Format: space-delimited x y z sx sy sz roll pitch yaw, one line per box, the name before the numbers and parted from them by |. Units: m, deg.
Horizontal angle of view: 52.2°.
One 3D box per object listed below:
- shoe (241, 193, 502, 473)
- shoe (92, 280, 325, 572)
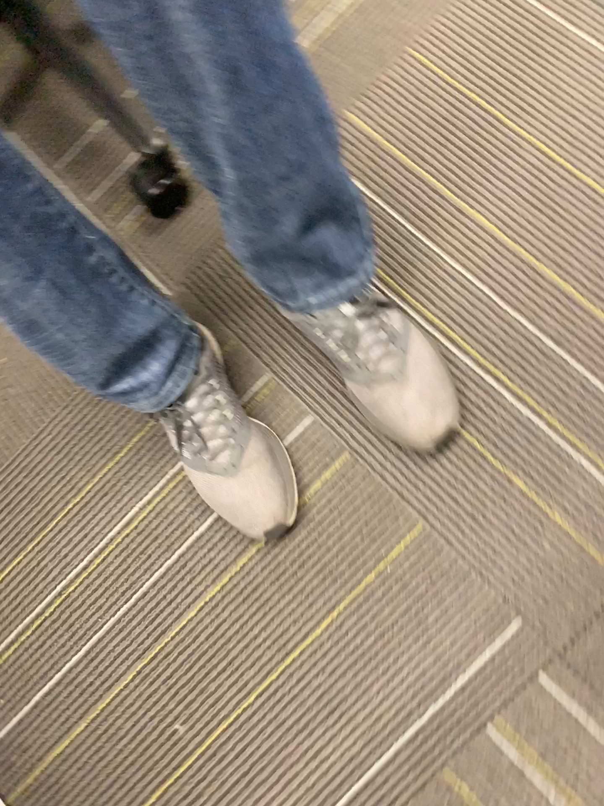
shoe | 0.071 -0.076 0.686 0.124 0.078 0.286 -38 75 2
shoe | -0.105 0.024 0.691 0.132 0.078 0.284 -30 76 4
